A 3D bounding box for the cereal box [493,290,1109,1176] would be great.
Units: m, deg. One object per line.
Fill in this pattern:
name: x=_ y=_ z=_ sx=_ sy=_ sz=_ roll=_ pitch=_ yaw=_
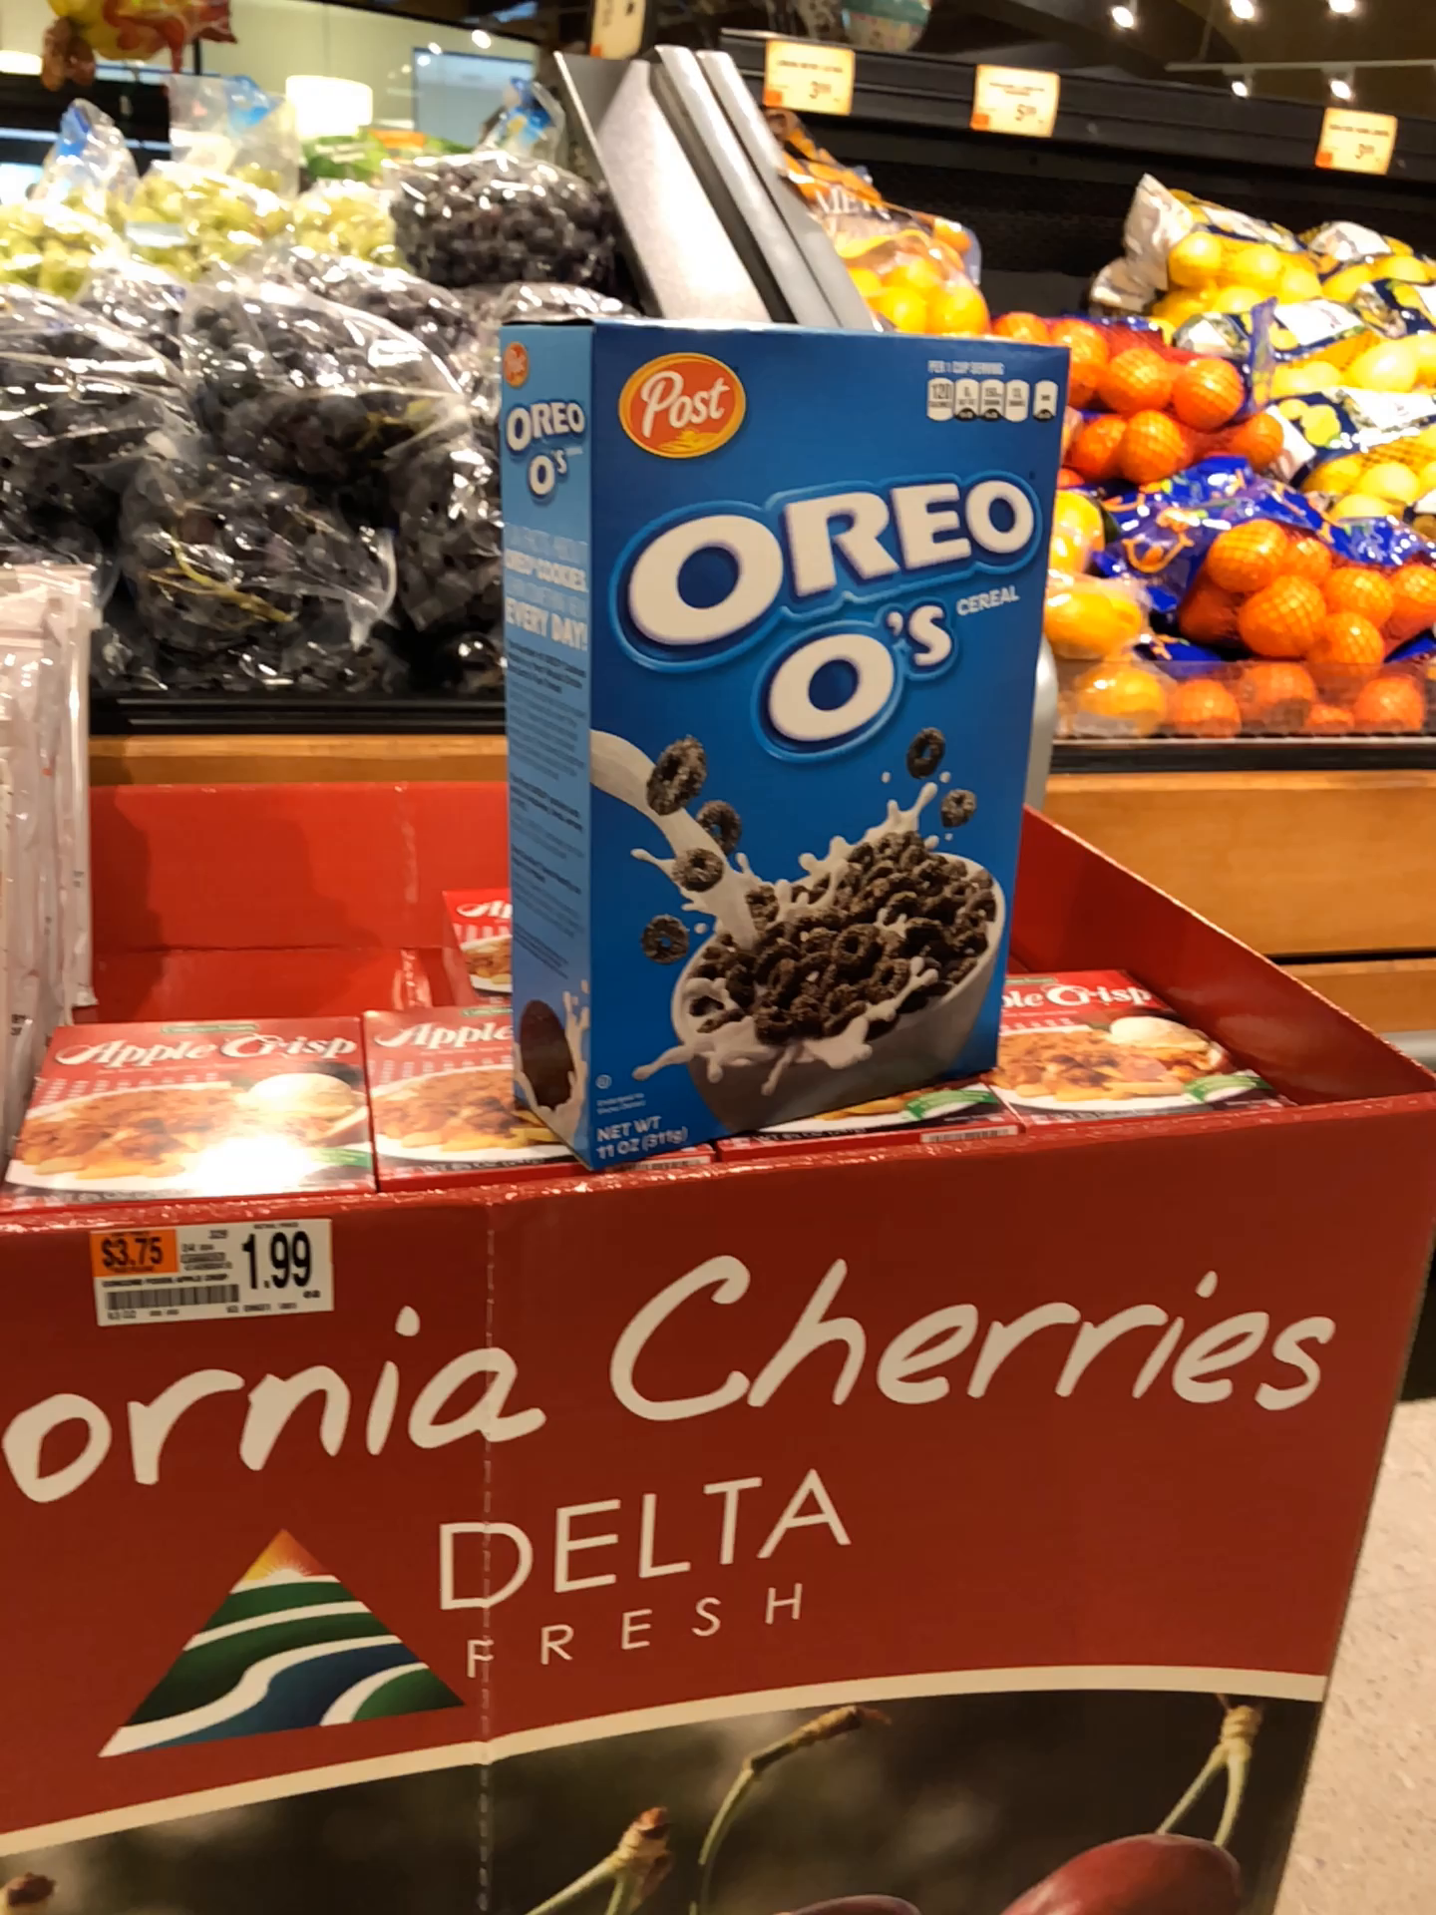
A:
cereal box: x=0.028 y=-0.084 z=0.569 sx=0.201 sy=0.278 sz=0.070 roll=-11 pitch=24 yaw=-31
